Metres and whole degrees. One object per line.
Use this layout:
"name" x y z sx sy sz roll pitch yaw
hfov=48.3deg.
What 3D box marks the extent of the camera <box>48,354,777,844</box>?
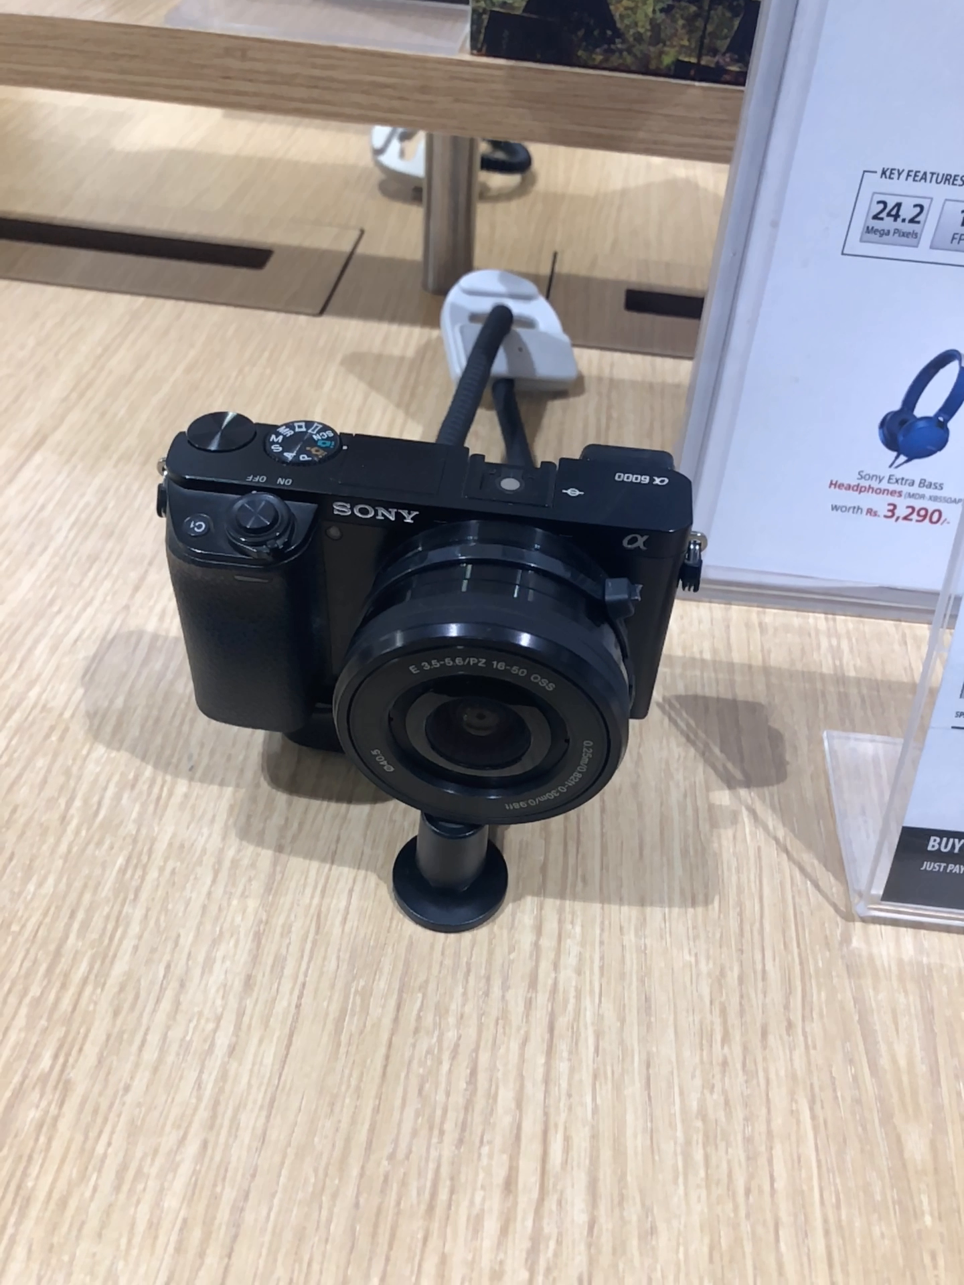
"camera" -0.012 -0.010 0.240 0.130 0.070 0.070 5 43 1
